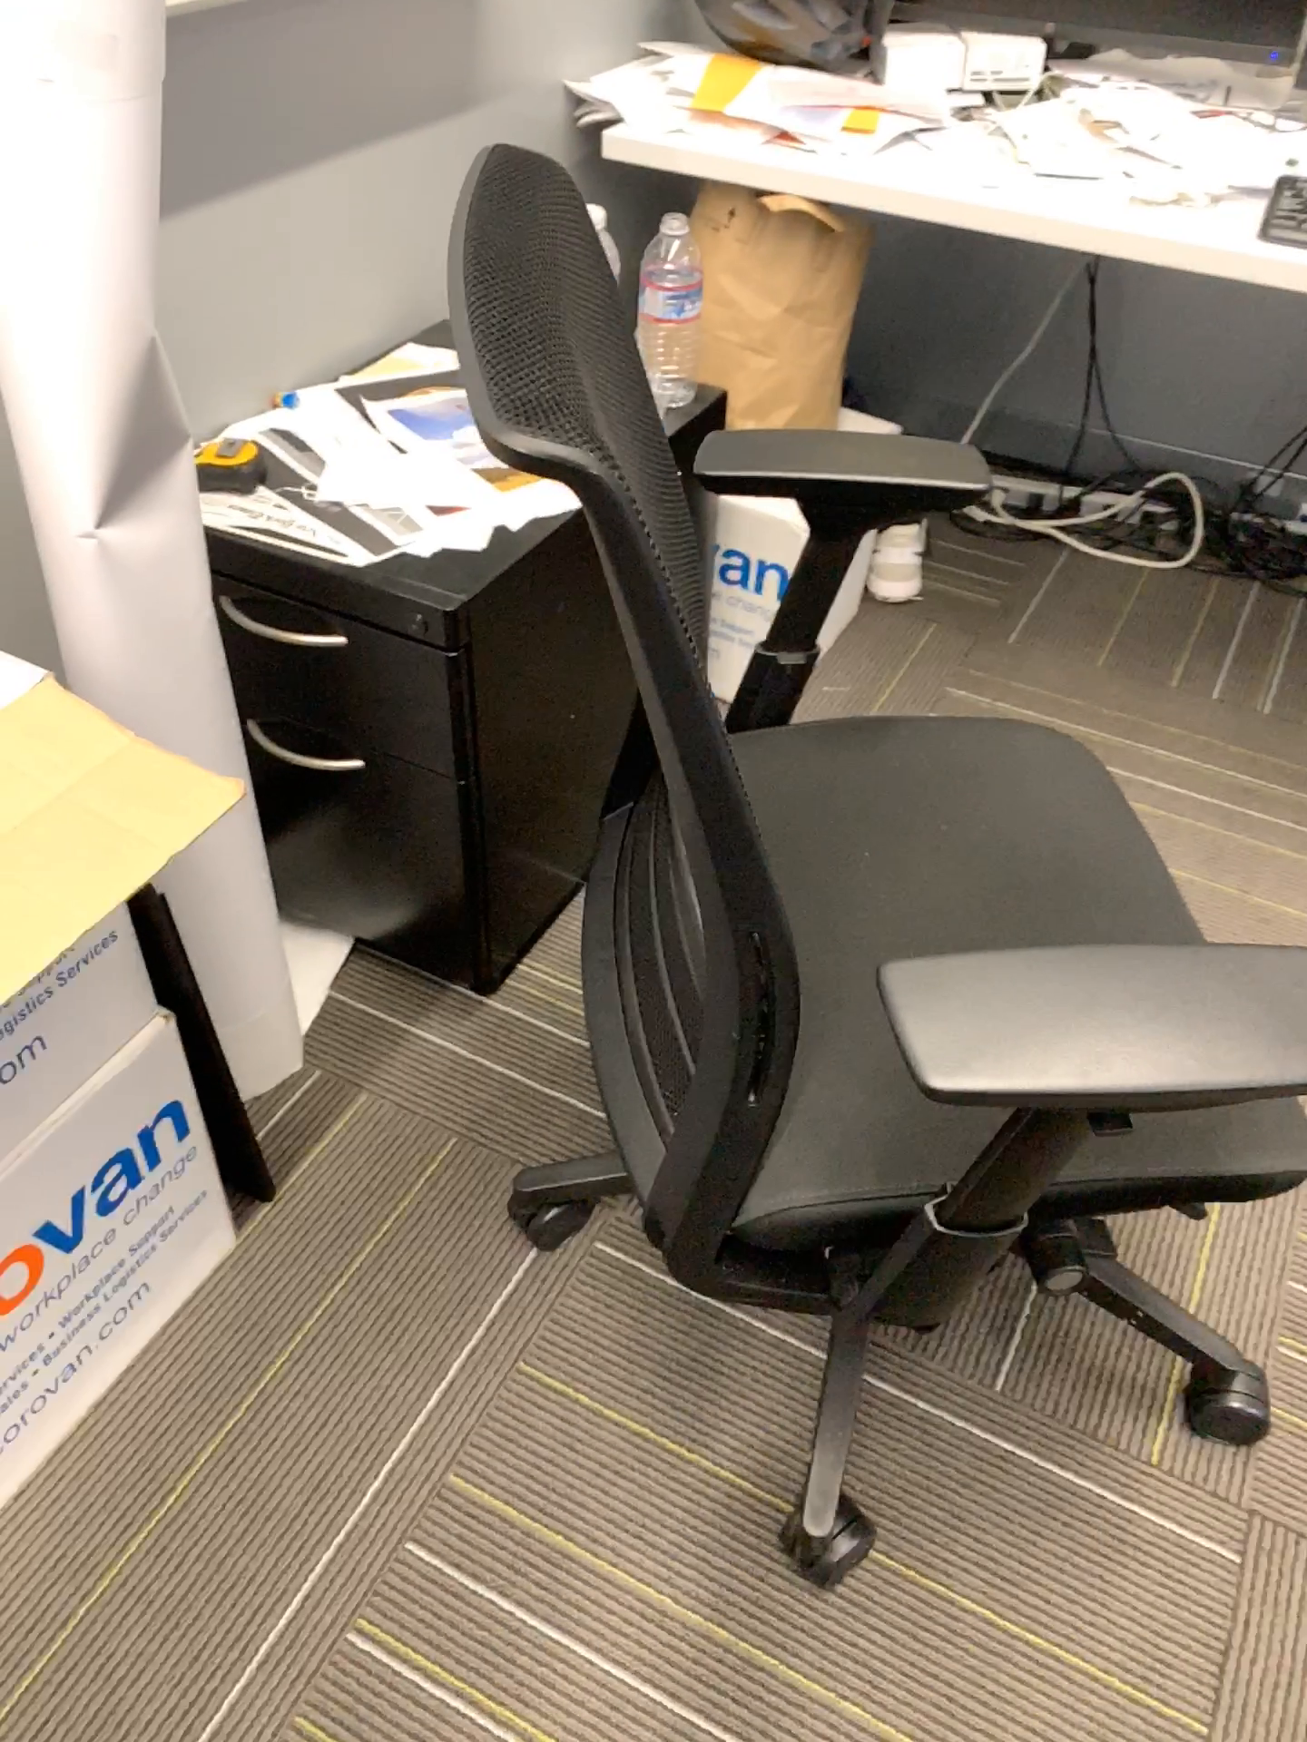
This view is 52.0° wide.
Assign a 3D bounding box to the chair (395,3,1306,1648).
[{"bbox_3d":[0.213,-0.024,0.967,0.680,0.915,0.664,-5,43,-9],"label":"chair"}]
